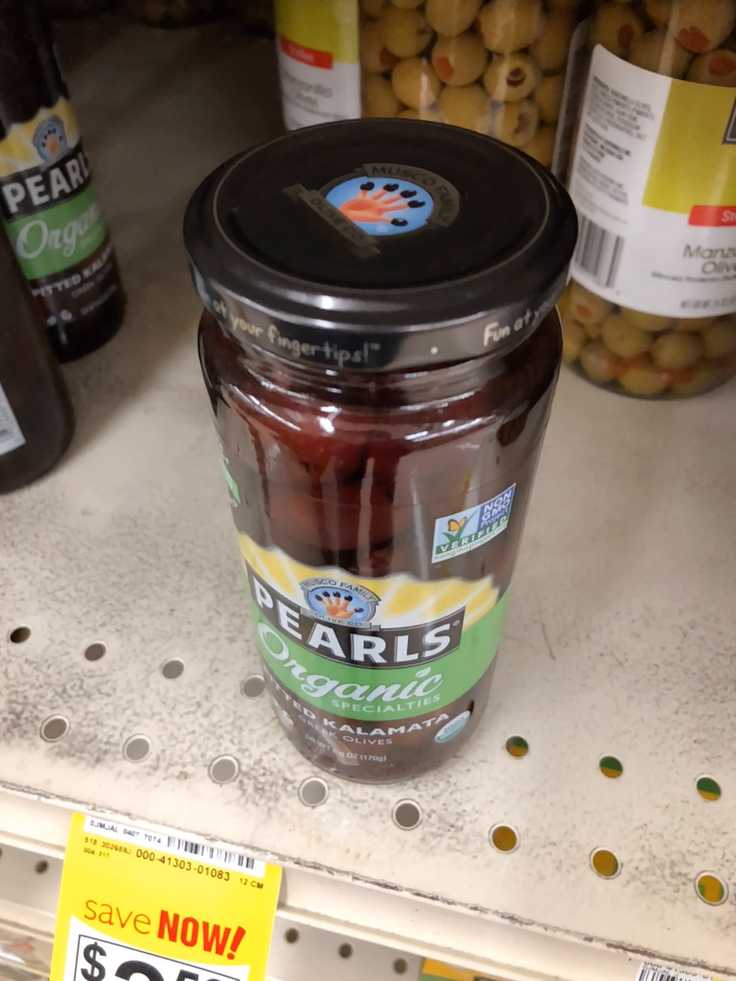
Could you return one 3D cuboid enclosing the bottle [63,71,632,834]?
[{"bbox_3d":[0.003,0.007,0.171,0.063,0.150,0.060,-1,50,1],"label":"bottle"}]
